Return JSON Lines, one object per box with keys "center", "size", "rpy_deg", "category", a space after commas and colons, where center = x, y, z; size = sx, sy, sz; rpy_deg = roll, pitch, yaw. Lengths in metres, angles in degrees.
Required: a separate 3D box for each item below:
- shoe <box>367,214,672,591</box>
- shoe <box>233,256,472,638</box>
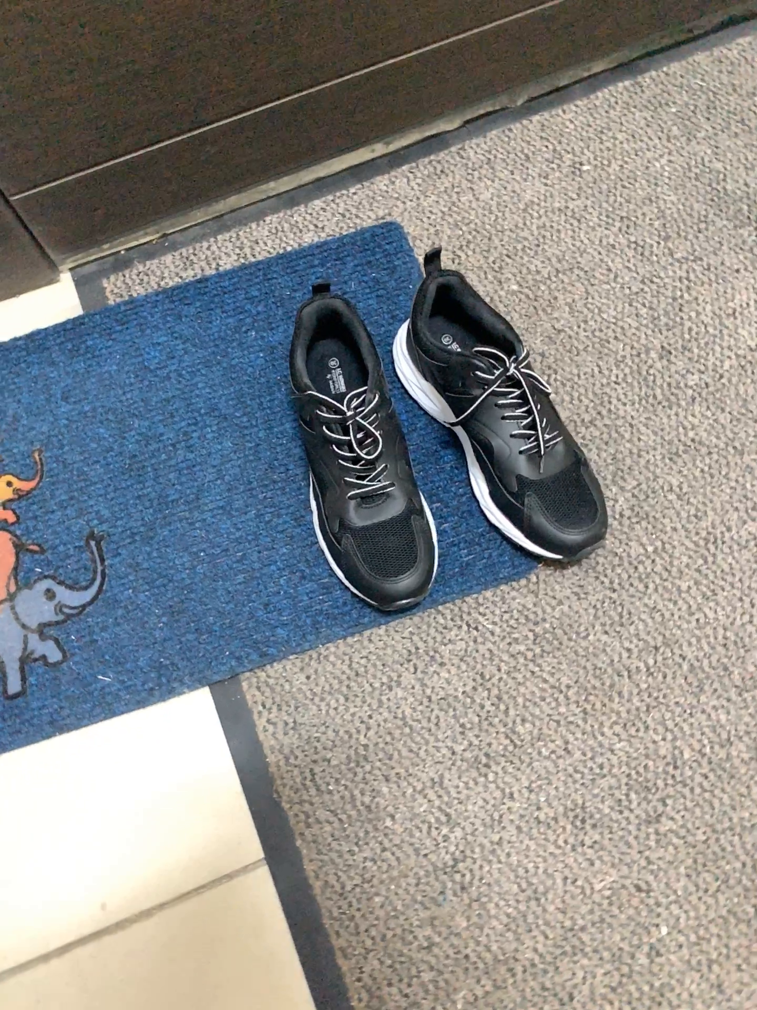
{"center": [0.099, -0.082, 0.612], "size": [0.110, 0.100, 0.260], "rpy_deg": [-25, 70, -5], "category": "shoe"}
{"center": [-0.022, -0.045, 0.604], "size": [0.110, 0.100, 0.260], "rpy_deg": [-16, 69, -2], "category": "shoe"}
